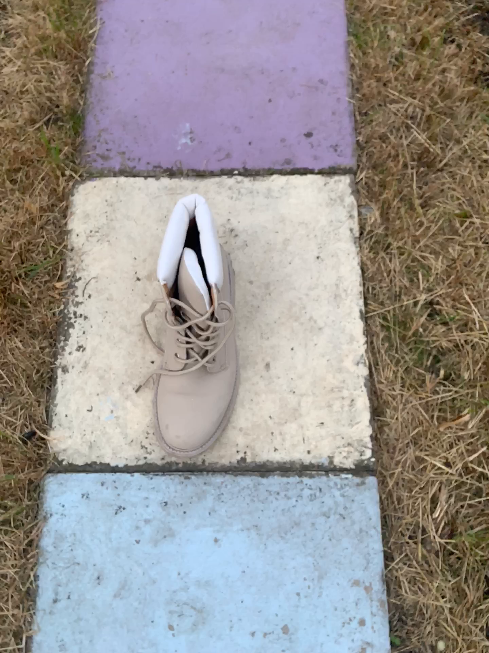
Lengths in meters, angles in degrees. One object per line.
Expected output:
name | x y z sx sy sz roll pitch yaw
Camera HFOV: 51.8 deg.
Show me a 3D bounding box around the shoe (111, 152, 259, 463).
shoe | -0.049 -0.004 0.546 0.100 0.199 0.281 5 73 1
